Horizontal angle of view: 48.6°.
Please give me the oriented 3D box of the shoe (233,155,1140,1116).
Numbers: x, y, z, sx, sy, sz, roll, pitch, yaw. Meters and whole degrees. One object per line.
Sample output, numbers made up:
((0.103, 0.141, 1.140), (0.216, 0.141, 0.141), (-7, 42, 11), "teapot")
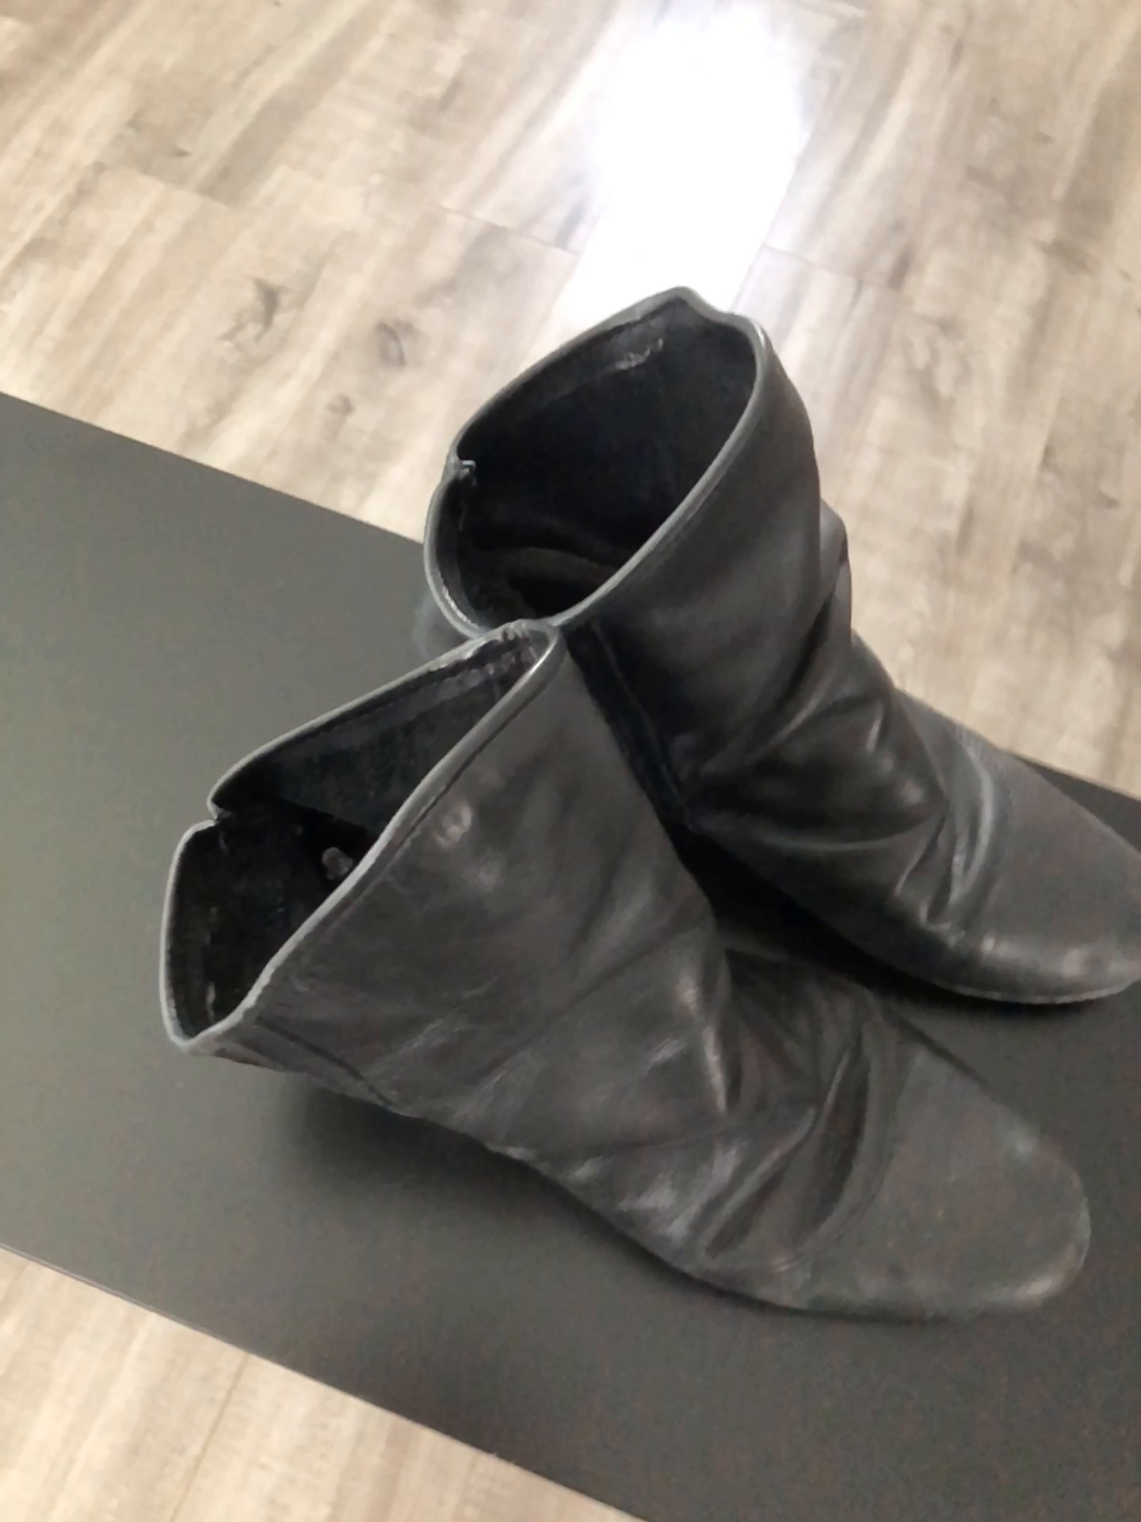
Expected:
((0.066, -0.016, 0.334), (0.260, 0.170, 0.101), (20, 65, 4), "shoe")

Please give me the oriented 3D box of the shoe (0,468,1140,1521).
((0.030, 0.064, 0.293), (0.250, 0.170, 0.101), (20, 65, 4), "shoe")
